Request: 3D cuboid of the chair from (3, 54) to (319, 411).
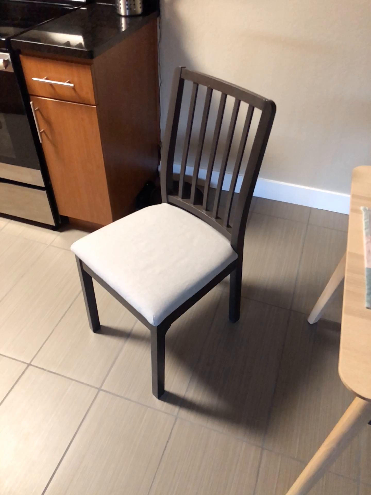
[{"bbox_3d":[-0.071,-0.062,1.350,0.591,0.846,0.581,-32,52,-32],"label":"chair"}]
